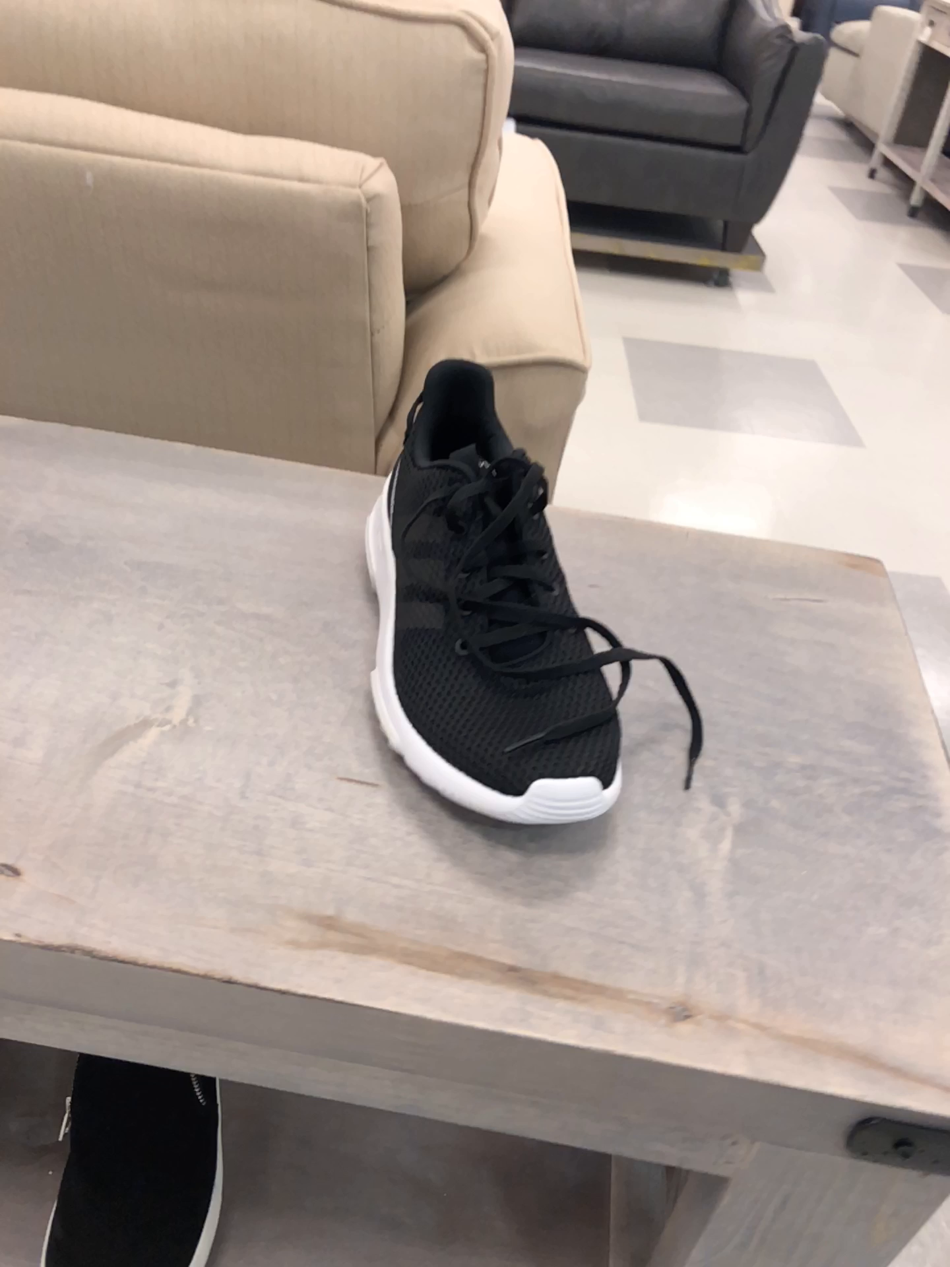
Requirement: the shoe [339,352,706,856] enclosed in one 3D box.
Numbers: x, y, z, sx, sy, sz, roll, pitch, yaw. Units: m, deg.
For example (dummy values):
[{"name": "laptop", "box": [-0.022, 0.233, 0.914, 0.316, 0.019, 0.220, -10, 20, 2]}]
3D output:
[{"name": "shoe", "box": [0.002, -0.035, 0.542, 0.120, 0.109, 0.285, -1, 37, -12]}]
